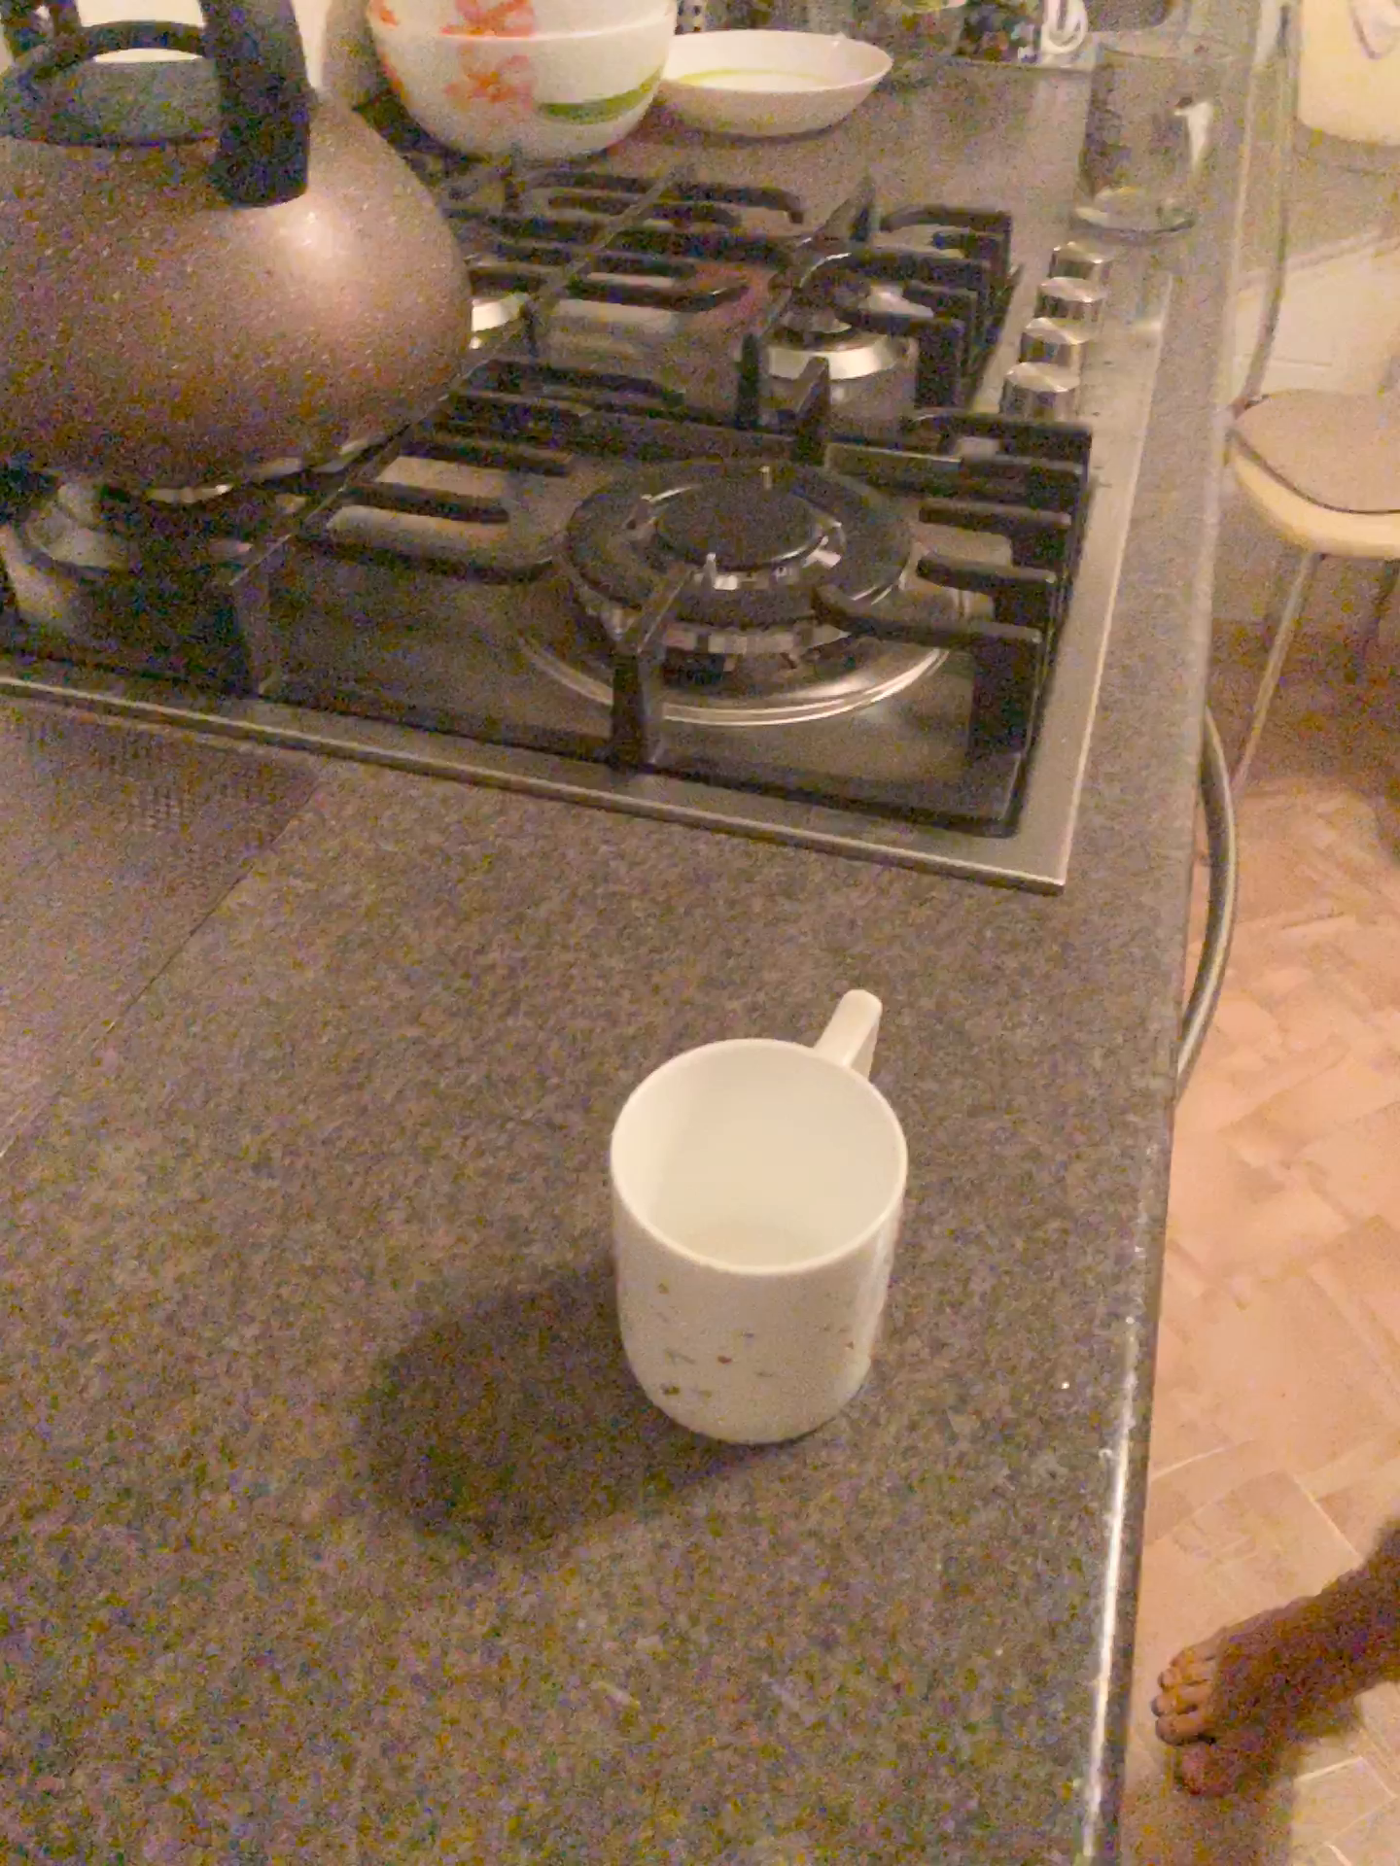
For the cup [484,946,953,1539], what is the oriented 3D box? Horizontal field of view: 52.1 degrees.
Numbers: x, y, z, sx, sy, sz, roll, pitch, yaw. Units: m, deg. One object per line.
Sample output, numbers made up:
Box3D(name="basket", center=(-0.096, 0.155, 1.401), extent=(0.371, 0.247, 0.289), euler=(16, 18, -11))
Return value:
Box3D(name="cup", center=(0.006, 0.062, 0.301), extent=(0.060, 0.069, 0.081), euler=(20, 45, 21))
